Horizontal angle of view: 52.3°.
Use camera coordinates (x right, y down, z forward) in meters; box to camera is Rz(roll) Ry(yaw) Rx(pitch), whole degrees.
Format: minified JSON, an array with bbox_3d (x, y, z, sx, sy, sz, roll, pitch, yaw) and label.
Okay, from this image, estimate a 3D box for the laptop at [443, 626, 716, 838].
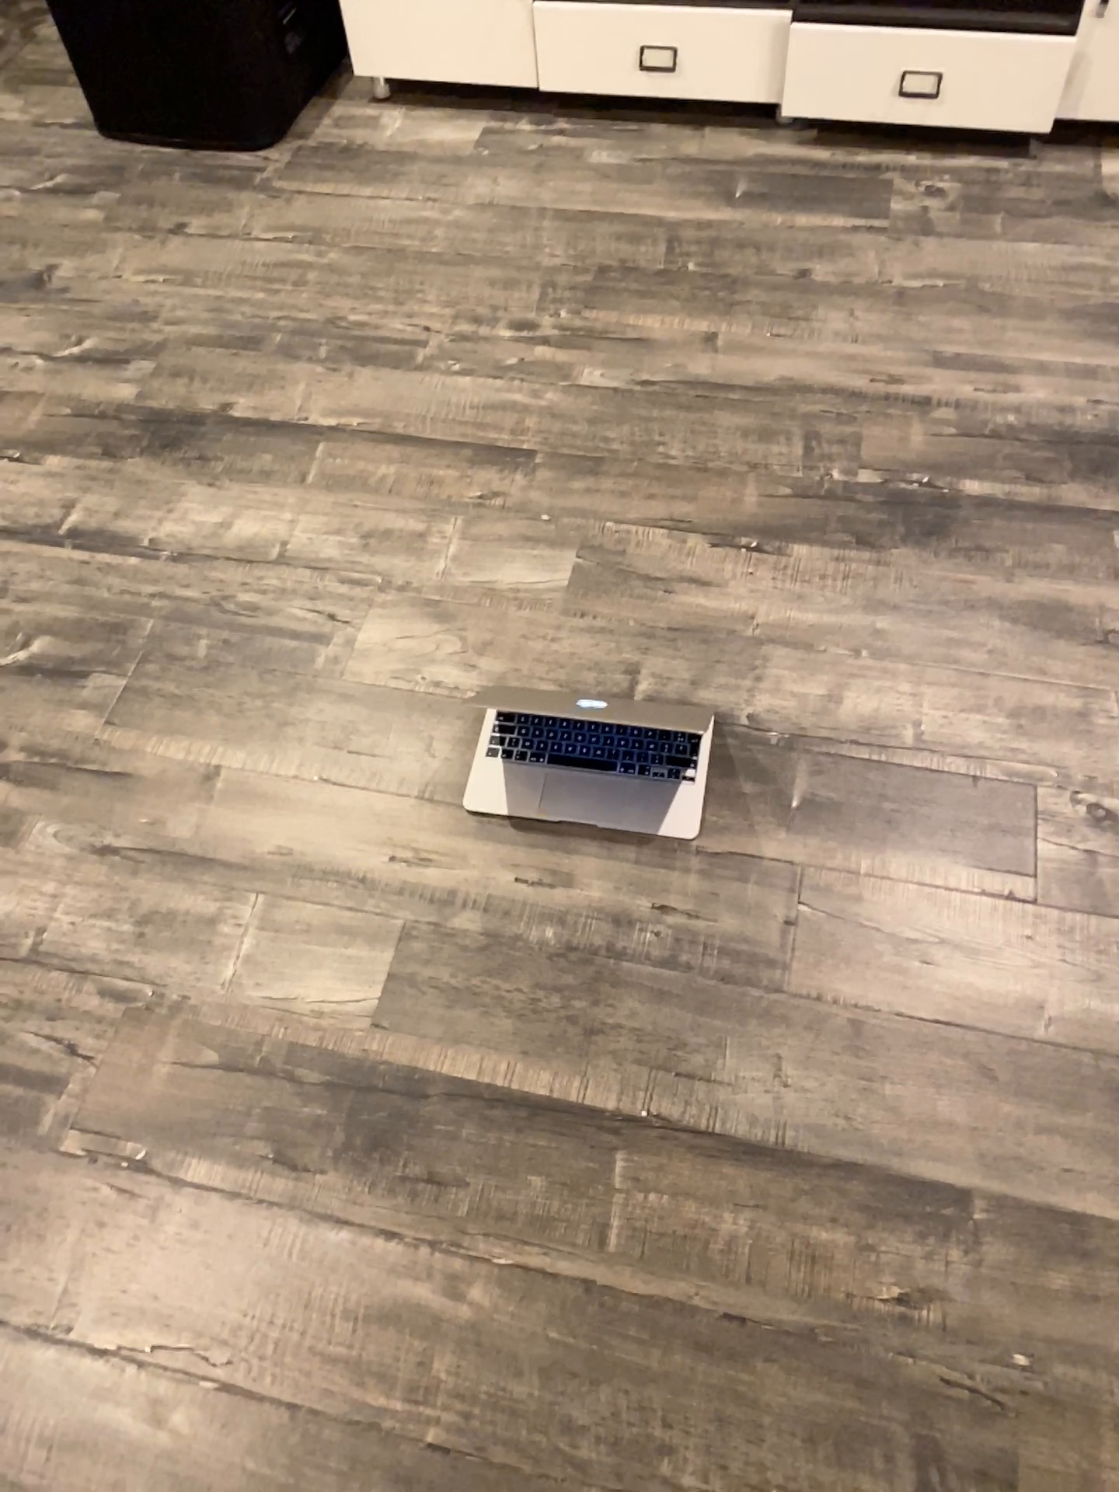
[{"bbox_3d":[0.032,-0.019,1.375,0.292,0.132,0.193,5,55,9],"label":"laptop"}]
